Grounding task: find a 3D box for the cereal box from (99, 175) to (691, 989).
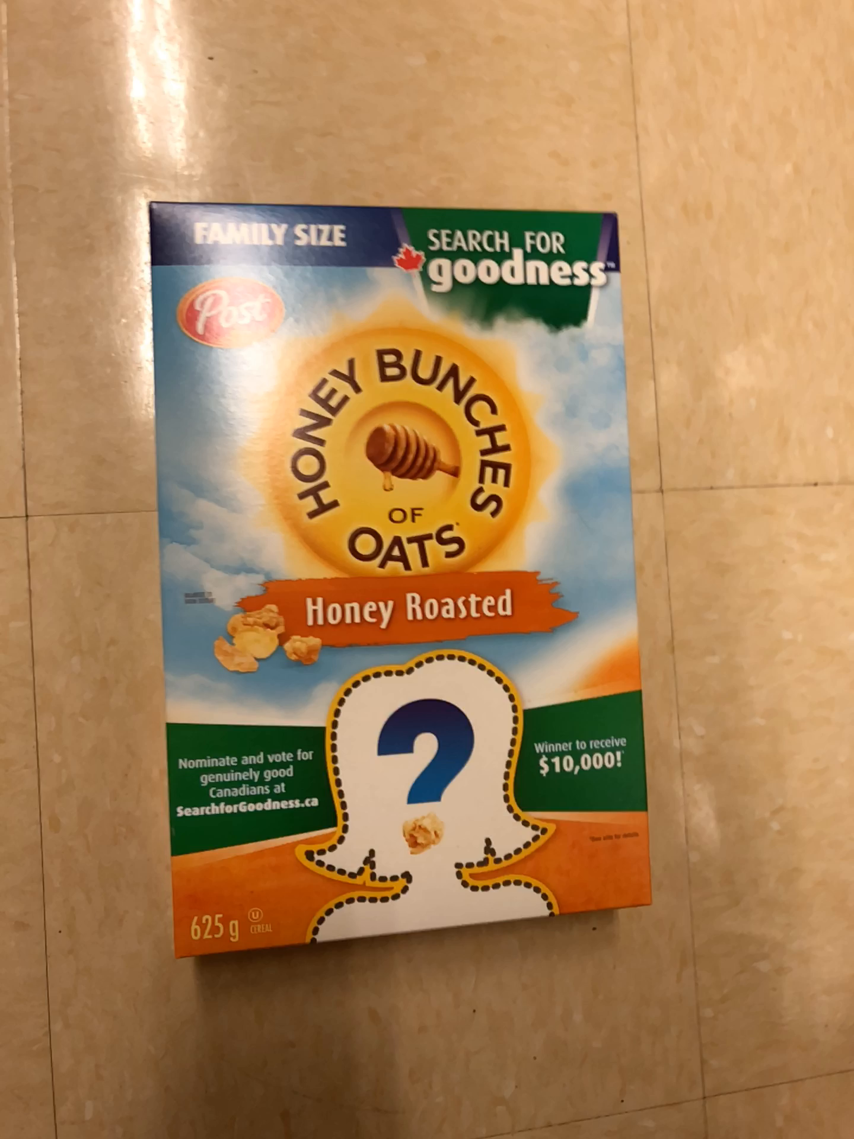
[{"bbox_3d":[-0.017,-0.002,0.388,0.210,0.070,0.290,-2,84,-11],"label":"cereal box"}]
